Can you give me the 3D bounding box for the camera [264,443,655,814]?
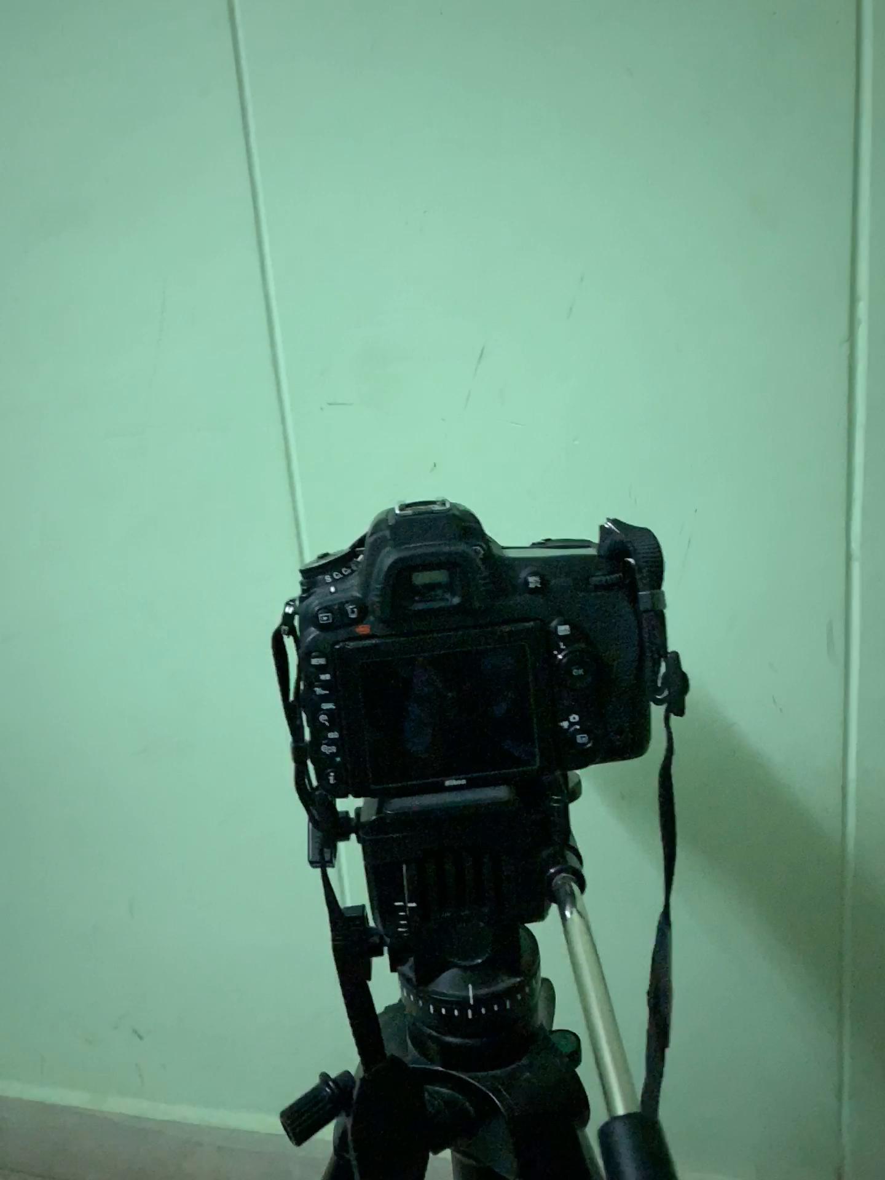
[{"bbox_3d":[0.002,0.002,0.435,0.140,0.117,0.182,-6,14,-4],"label":"camera"}]
